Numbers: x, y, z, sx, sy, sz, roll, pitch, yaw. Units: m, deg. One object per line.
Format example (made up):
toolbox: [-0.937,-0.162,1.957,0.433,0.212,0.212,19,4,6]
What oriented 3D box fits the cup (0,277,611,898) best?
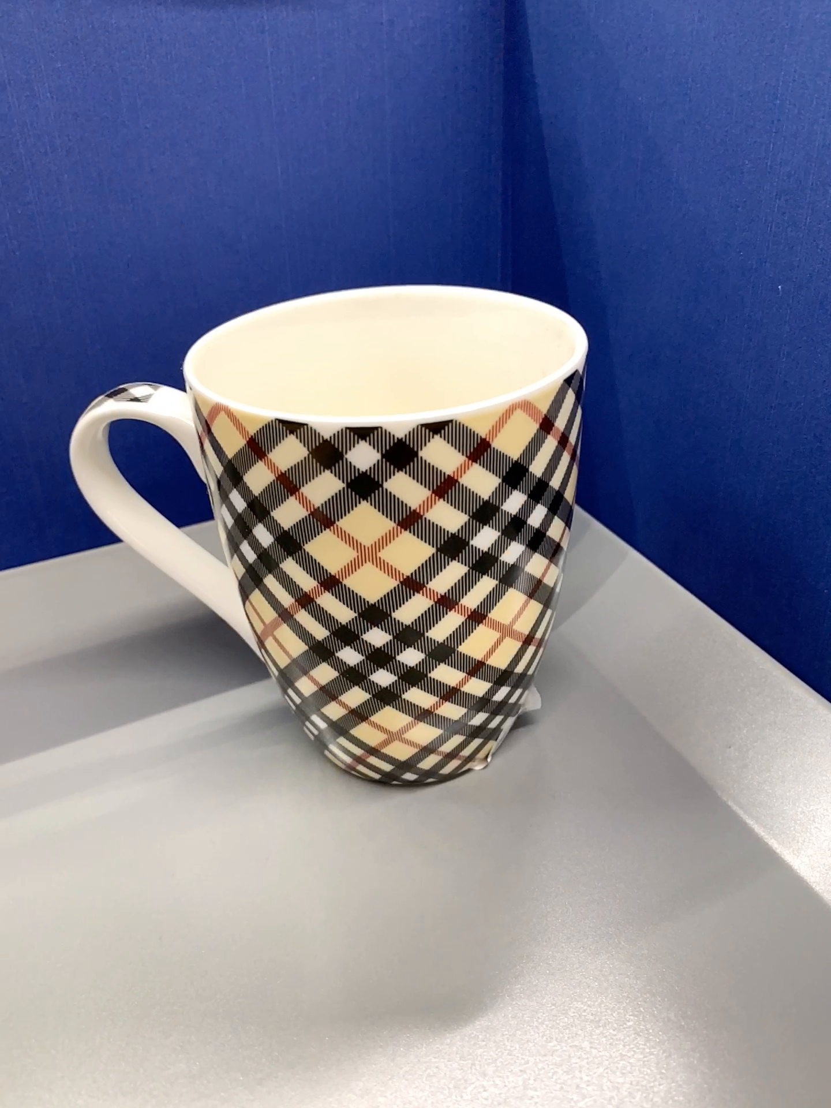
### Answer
cup: [-0.021,-0.001,0.208,0.120,0.104,0.091,5,31,13]
